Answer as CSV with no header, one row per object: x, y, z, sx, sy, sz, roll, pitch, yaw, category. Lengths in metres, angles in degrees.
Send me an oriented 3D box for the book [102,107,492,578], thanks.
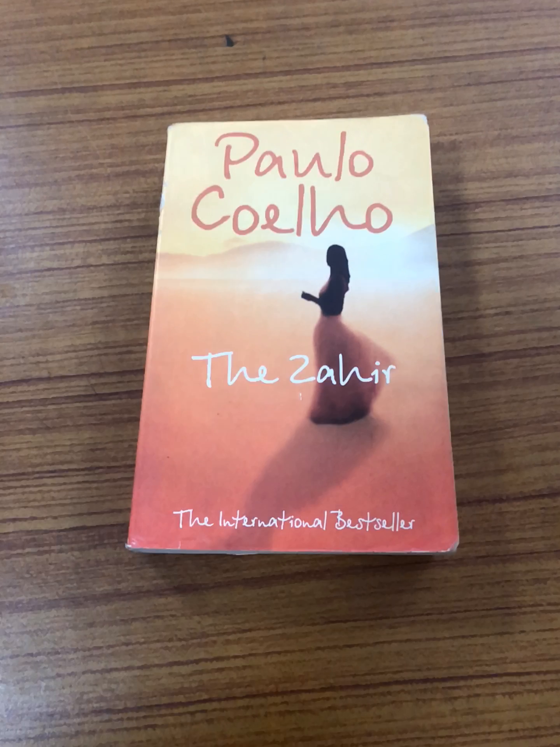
0.007,-0.017,0.243,0.120,0.040,0.180,0,69,2,book
